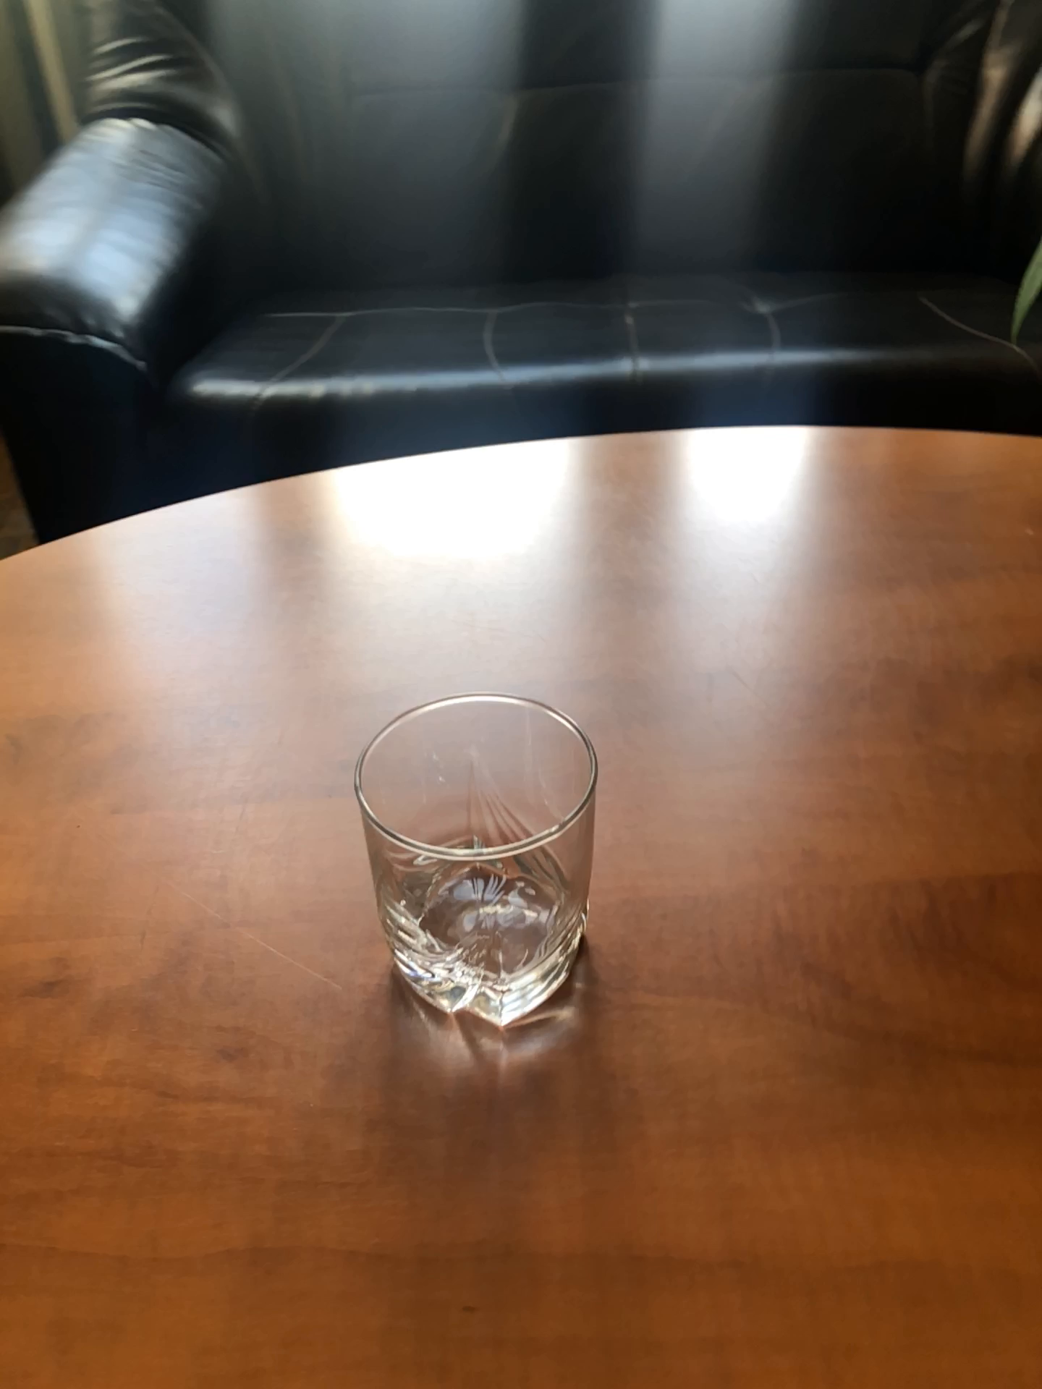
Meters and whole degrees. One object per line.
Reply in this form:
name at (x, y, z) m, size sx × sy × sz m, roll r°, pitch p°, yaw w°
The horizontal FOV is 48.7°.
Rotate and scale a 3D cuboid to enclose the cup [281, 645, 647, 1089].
cup at (-0.020, 0.054, 0.389) m, size 0.089 × 0.086 × 0.095 m, roll -2°, pitch 37°, yaw 1°
